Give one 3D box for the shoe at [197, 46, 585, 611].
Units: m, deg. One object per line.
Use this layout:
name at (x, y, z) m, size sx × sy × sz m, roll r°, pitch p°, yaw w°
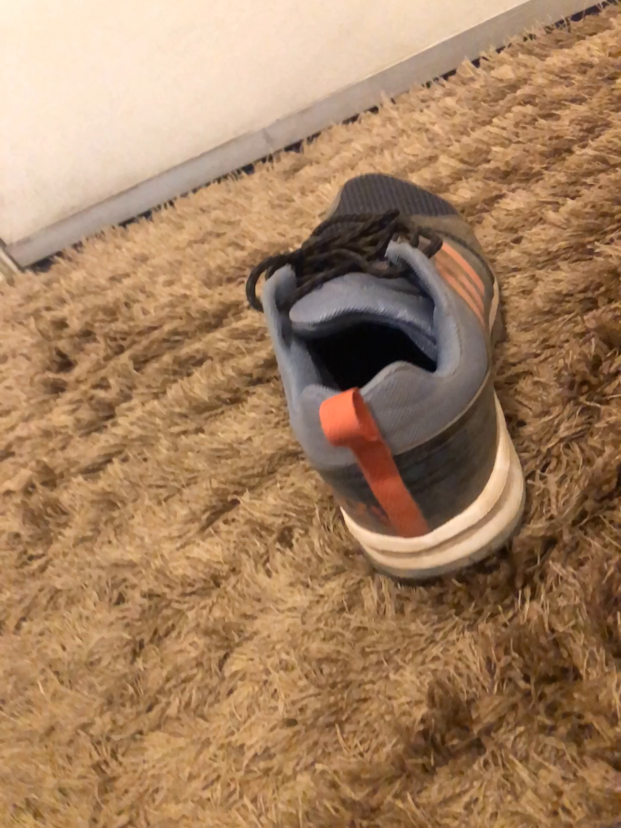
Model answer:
shoe at (0.038, -0.061, 0.350) m, size 0.113 × 0.110 × 0.276 m, roll -17°, pitch 43°, yaw 18°
